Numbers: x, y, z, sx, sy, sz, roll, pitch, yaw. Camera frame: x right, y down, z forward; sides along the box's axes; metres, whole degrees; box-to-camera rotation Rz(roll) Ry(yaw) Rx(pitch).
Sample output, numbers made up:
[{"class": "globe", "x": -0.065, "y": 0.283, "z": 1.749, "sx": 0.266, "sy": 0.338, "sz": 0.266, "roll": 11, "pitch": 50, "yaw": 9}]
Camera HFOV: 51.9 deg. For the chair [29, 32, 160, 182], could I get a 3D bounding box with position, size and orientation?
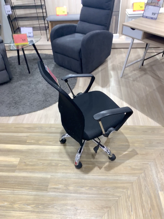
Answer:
[{"class": "chair", "x": 0.051, "y": -0.031, "z": 1.374, "sx": 0.601, "sy": 0.865, "sz": 0.643, "roll": -21, "pitch": 45, "yaw": -18}]
